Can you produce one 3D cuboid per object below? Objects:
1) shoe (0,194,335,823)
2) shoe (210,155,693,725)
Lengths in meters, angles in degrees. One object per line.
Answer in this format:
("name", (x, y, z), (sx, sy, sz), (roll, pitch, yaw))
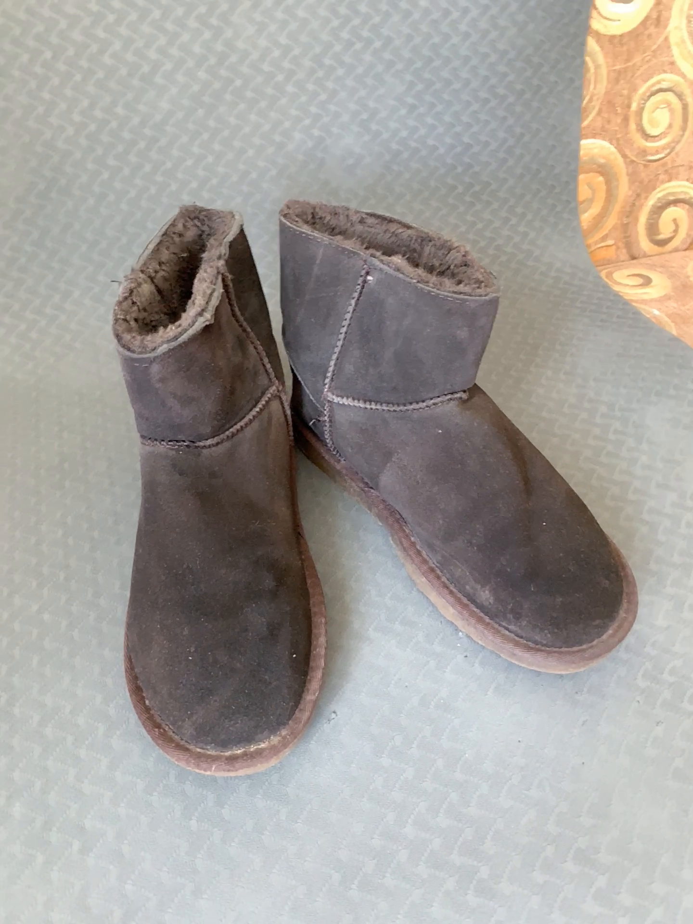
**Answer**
("shoe", (-0.073, 0.007, 0.337), (0.100, 0.139, 0.254), (-6, 50, -6))
("shoe", (0.049, -0.024, 0.361), (0.100, 0.139, 0.254), (-30, 56, -23))
